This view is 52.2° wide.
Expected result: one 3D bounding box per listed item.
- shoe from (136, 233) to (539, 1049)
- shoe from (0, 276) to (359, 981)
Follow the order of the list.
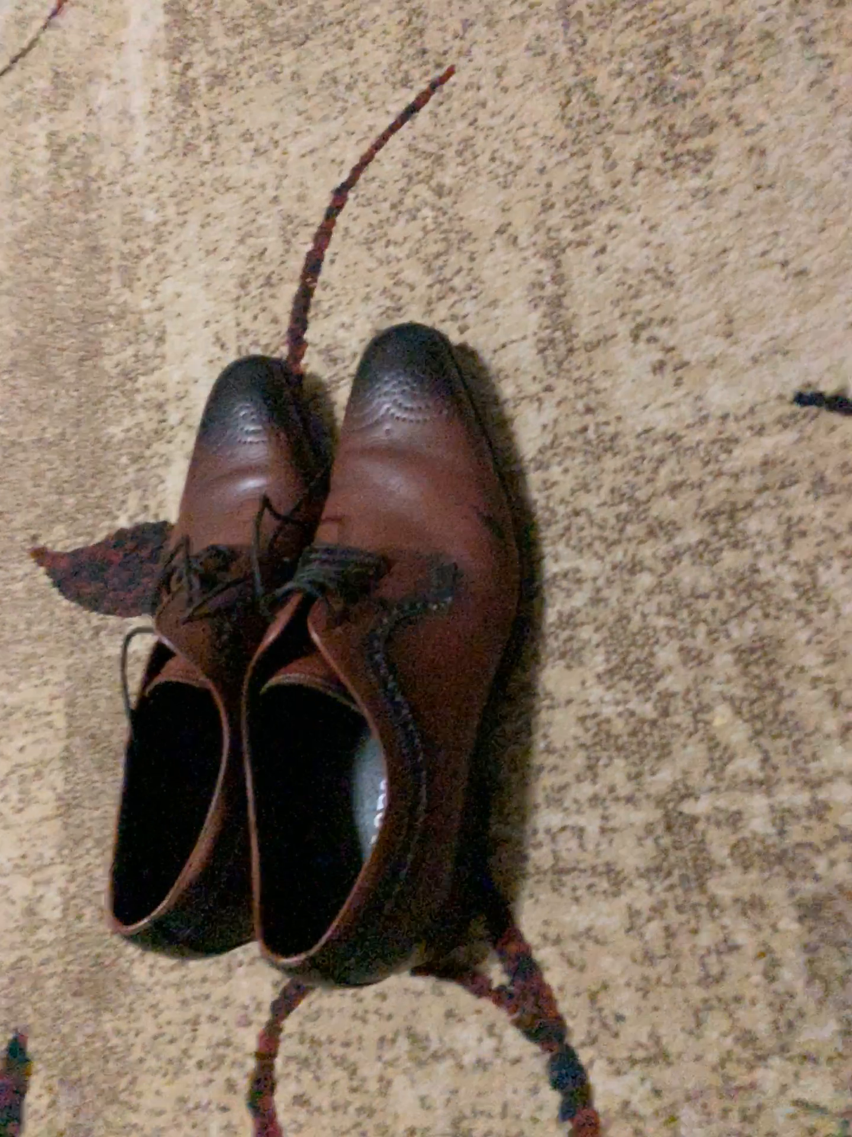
[{"bbox_3d":[-0.022,0.024,0.359,0.096,0.115,0.274,-3,74,26],"label":"shoe"},{"bbox_3d":[-0.102,0.027,0.399,0.096,0.115,0.274,-9,71,24],"label":"shoe"}]
